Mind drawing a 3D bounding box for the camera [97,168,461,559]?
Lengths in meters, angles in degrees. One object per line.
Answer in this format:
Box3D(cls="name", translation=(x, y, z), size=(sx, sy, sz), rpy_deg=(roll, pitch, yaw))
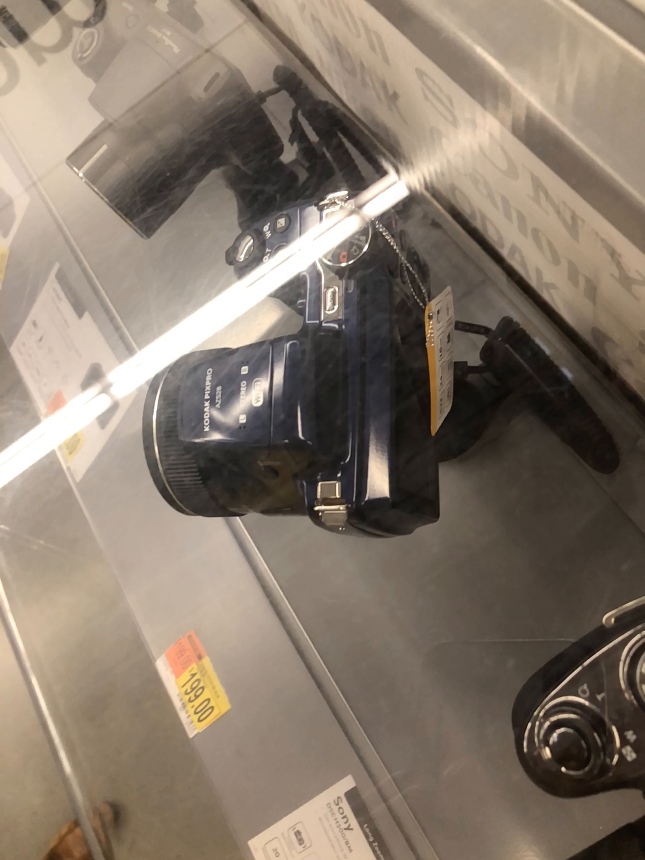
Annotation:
Box3D(cls="camera", translation=(-0.008, -0.016, 0.286), size=(0.110, 0.090, 0.120), rpy_deg=(-4, 71, 18))
